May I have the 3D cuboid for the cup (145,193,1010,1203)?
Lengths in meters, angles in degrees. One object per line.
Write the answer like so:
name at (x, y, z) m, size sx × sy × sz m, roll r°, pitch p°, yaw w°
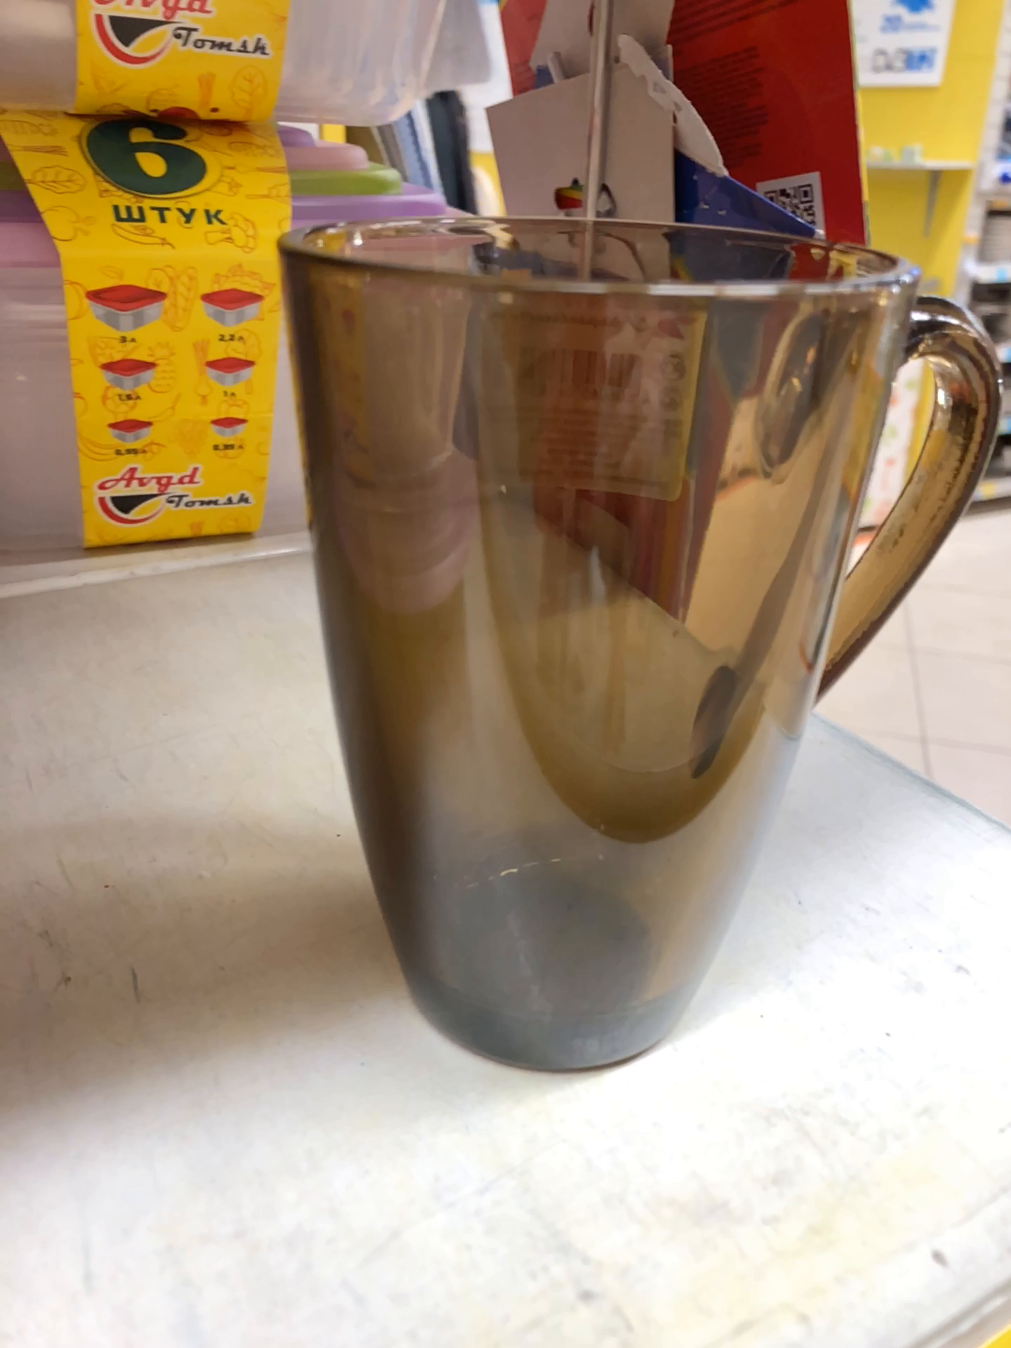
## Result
cup at (0.022, -0.012, 0.161) m, size 0.112 × 0.096 × 0.072 m, roll -20°, pitch 35°, yaw -35°
